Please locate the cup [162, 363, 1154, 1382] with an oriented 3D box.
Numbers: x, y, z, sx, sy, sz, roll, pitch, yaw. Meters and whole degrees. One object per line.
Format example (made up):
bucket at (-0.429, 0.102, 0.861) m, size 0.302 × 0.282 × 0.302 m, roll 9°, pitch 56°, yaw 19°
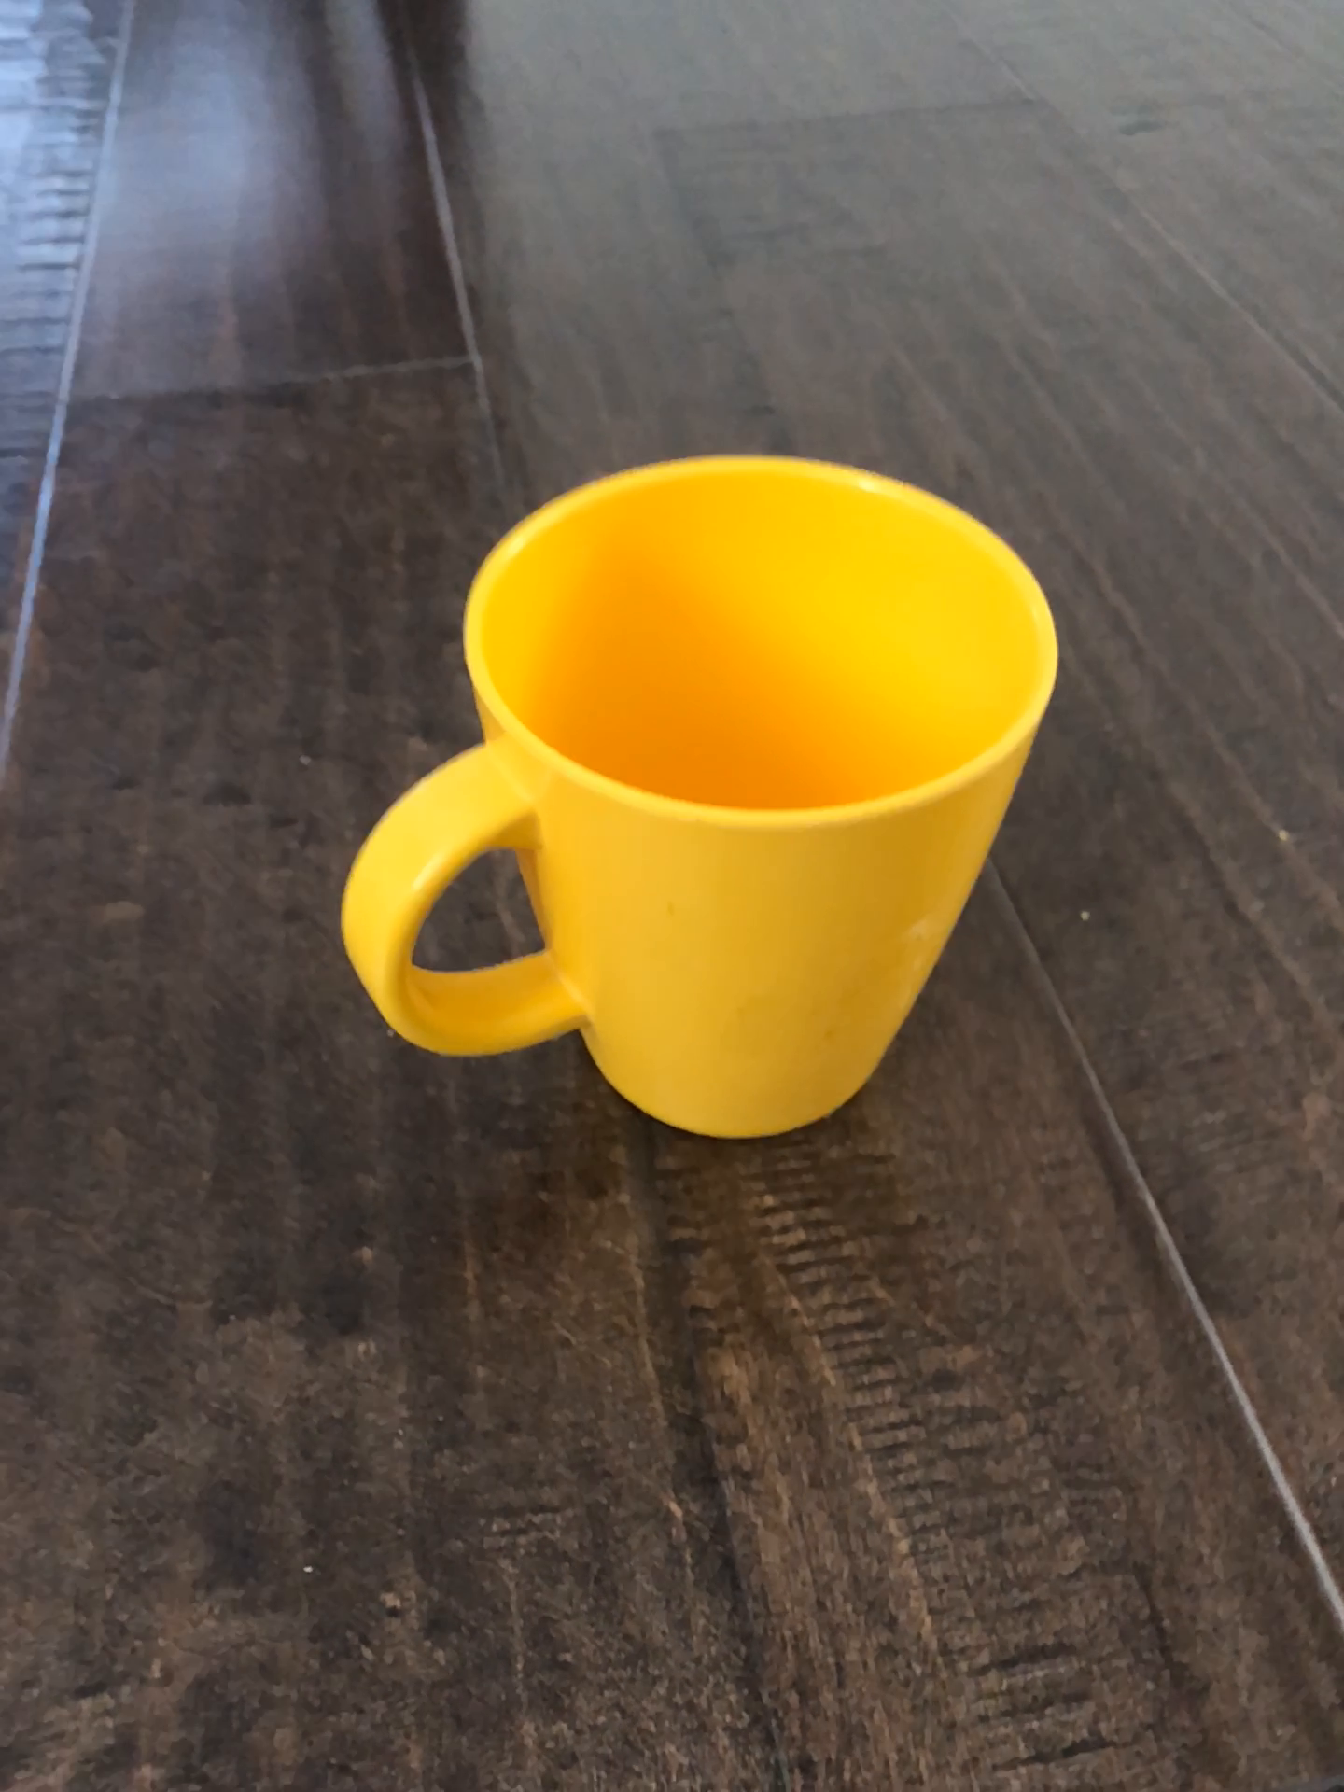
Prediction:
cup at (-0.001, -0.008, 0.252) m, size 0.110 × 0.099 × 0.090 m, roll -32°, pitch 54°, yaw -27°
